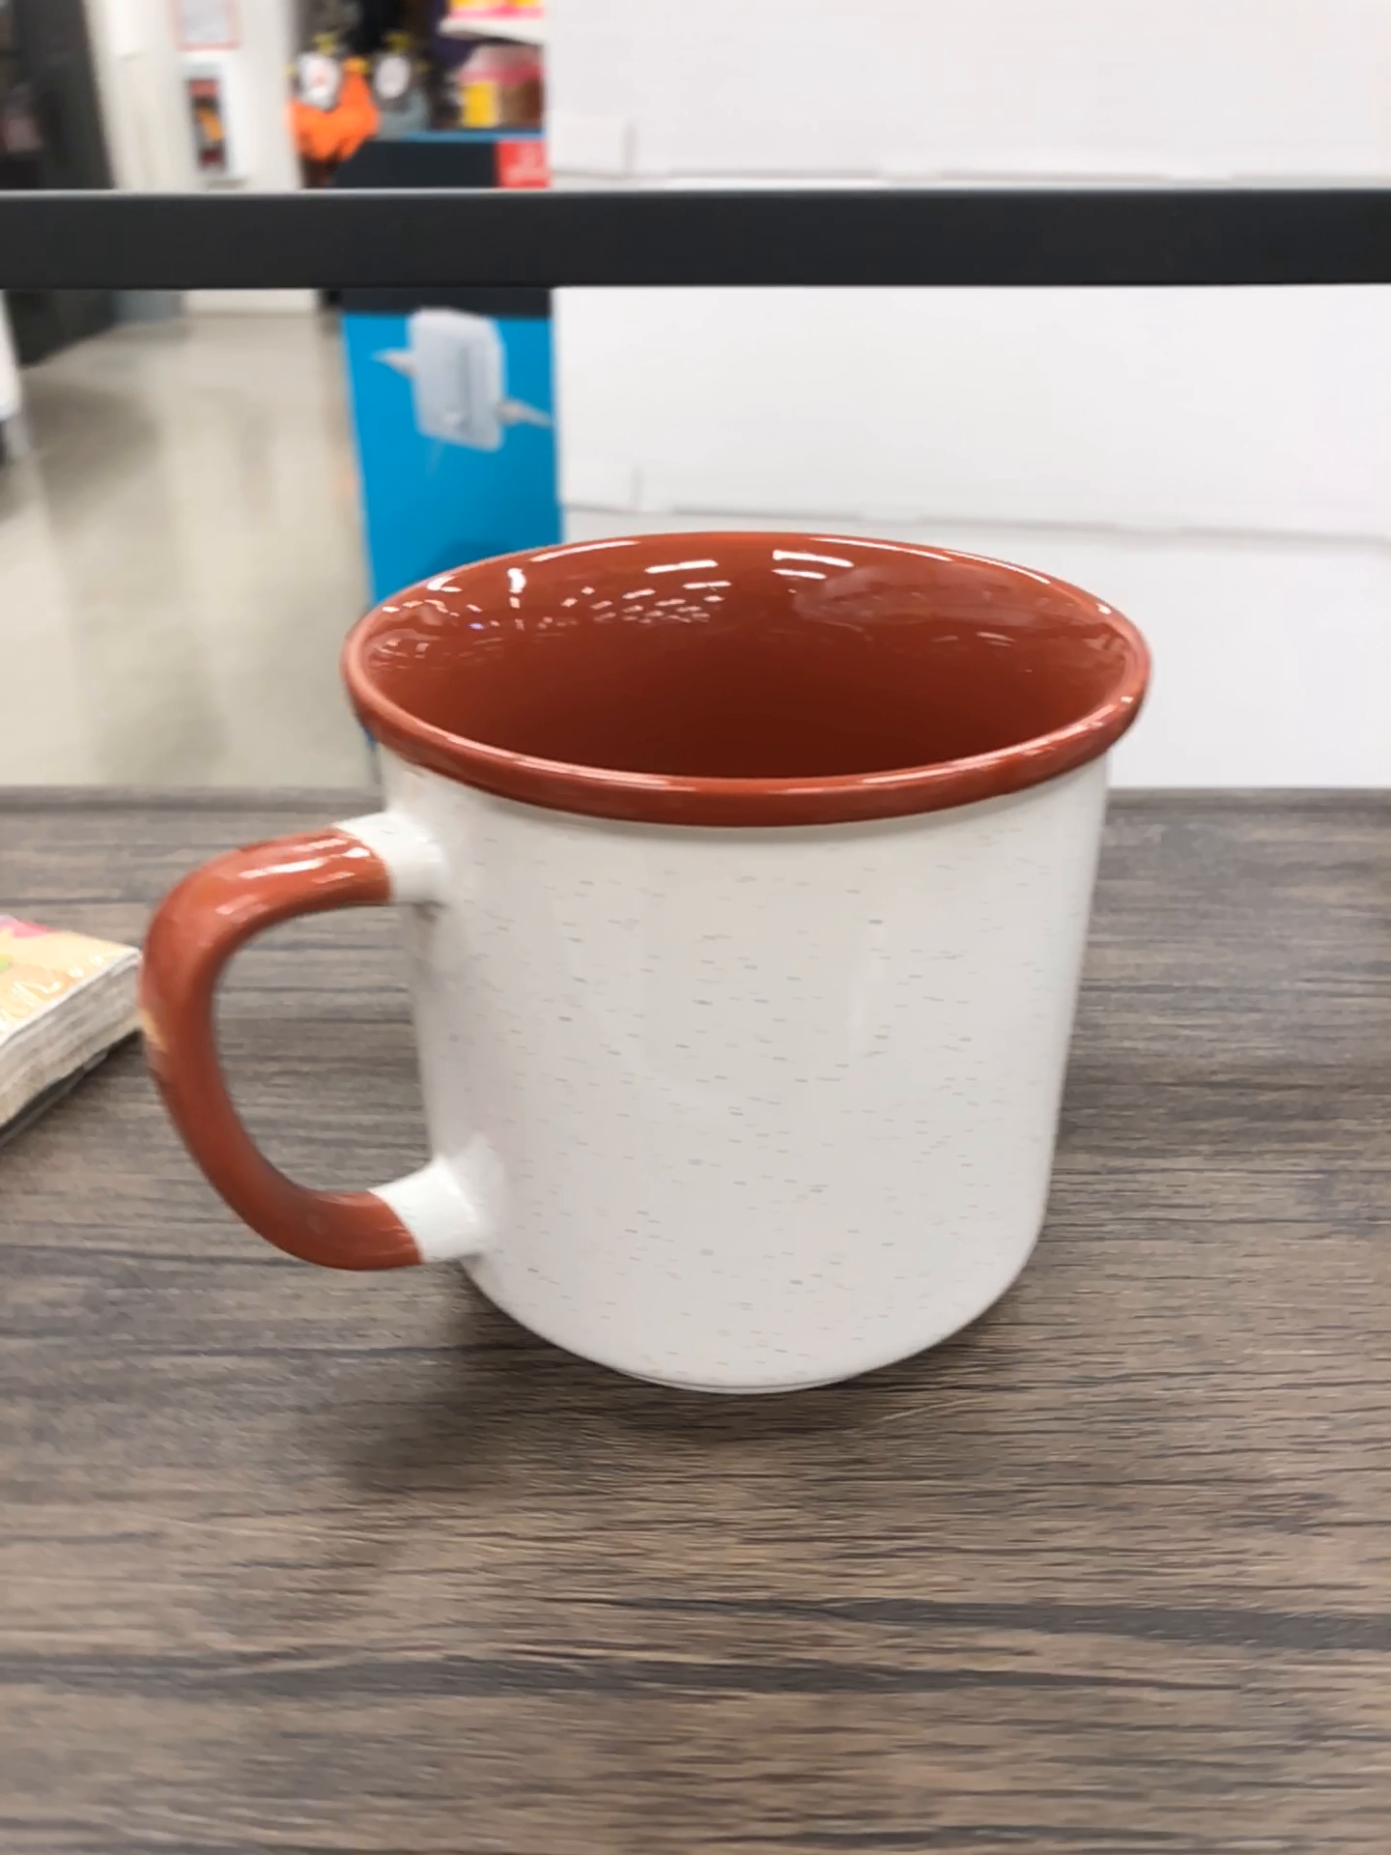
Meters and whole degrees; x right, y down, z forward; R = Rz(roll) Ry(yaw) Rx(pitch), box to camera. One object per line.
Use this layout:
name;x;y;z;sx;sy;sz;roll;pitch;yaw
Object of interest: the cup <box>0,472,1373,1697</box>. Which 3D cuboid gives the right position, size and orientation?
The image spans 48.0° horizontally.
cup;-0.005;0.001;0.225;0.150;0.090;0.110;-19;34;-29
